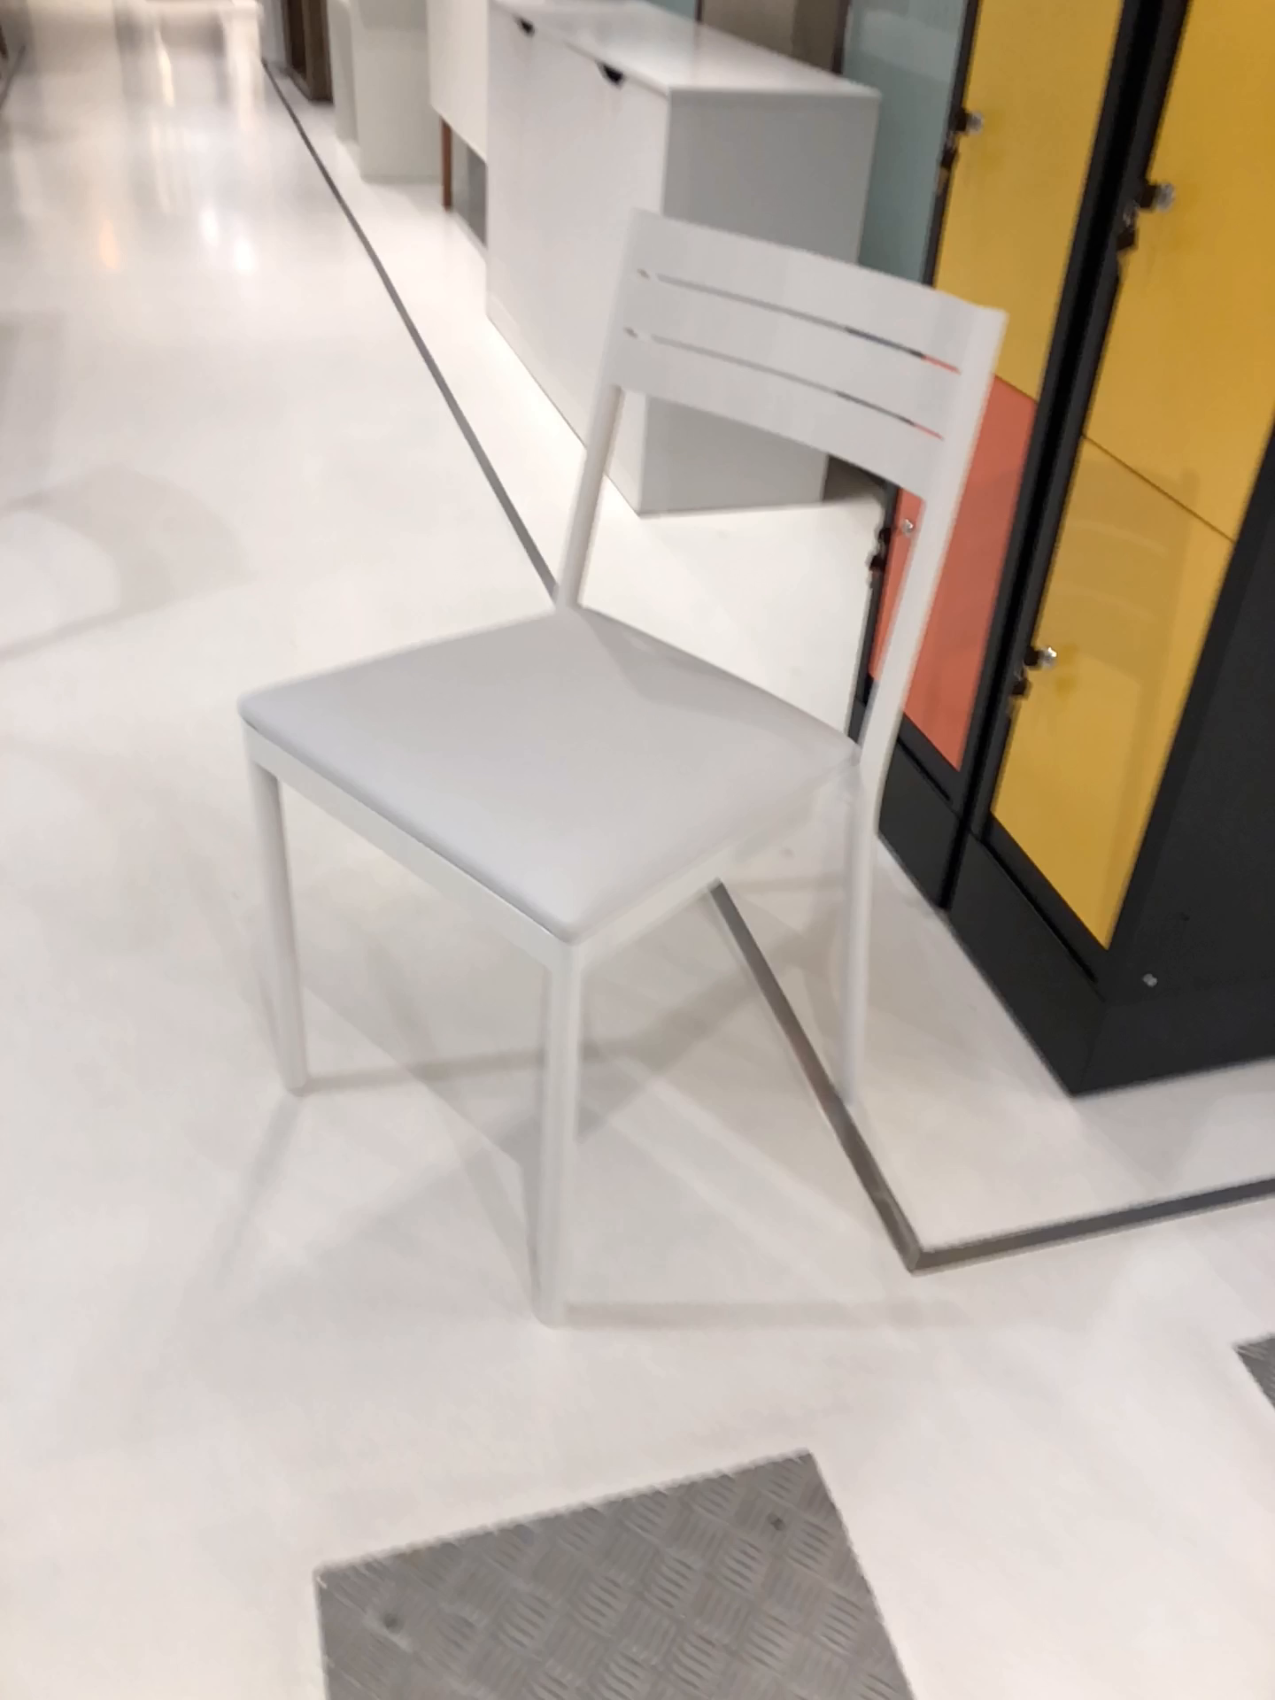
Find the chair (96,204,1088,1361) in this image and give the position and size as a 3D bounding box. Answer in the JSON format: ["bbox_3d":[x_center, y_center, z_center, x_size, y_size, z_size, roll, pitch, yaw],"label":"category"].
[{"bbox_3d":[-0.043,-0.093,1.220,0.482,0.734,0.532,32,44,33],"label":"chair"}]
